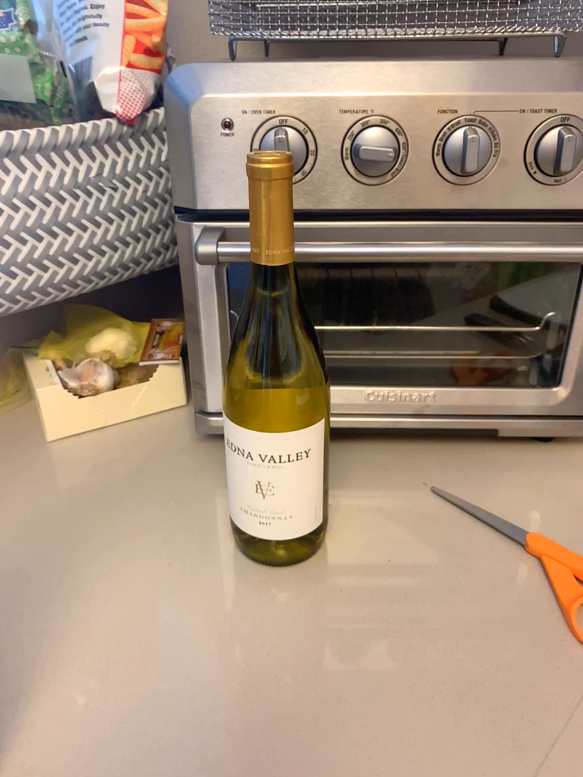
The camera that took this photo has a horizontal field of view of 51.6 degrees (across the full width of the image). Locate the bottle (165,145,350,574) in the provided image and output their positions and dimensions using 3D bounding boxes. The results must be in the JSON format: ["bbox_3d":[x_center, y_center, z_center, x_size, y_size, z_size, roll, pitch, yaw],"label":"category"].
[{"bbox_3d":[-0.013,-0.014,0.418,0.090,0.278,0.091,-1,28,0],"label":"bottle"}]
